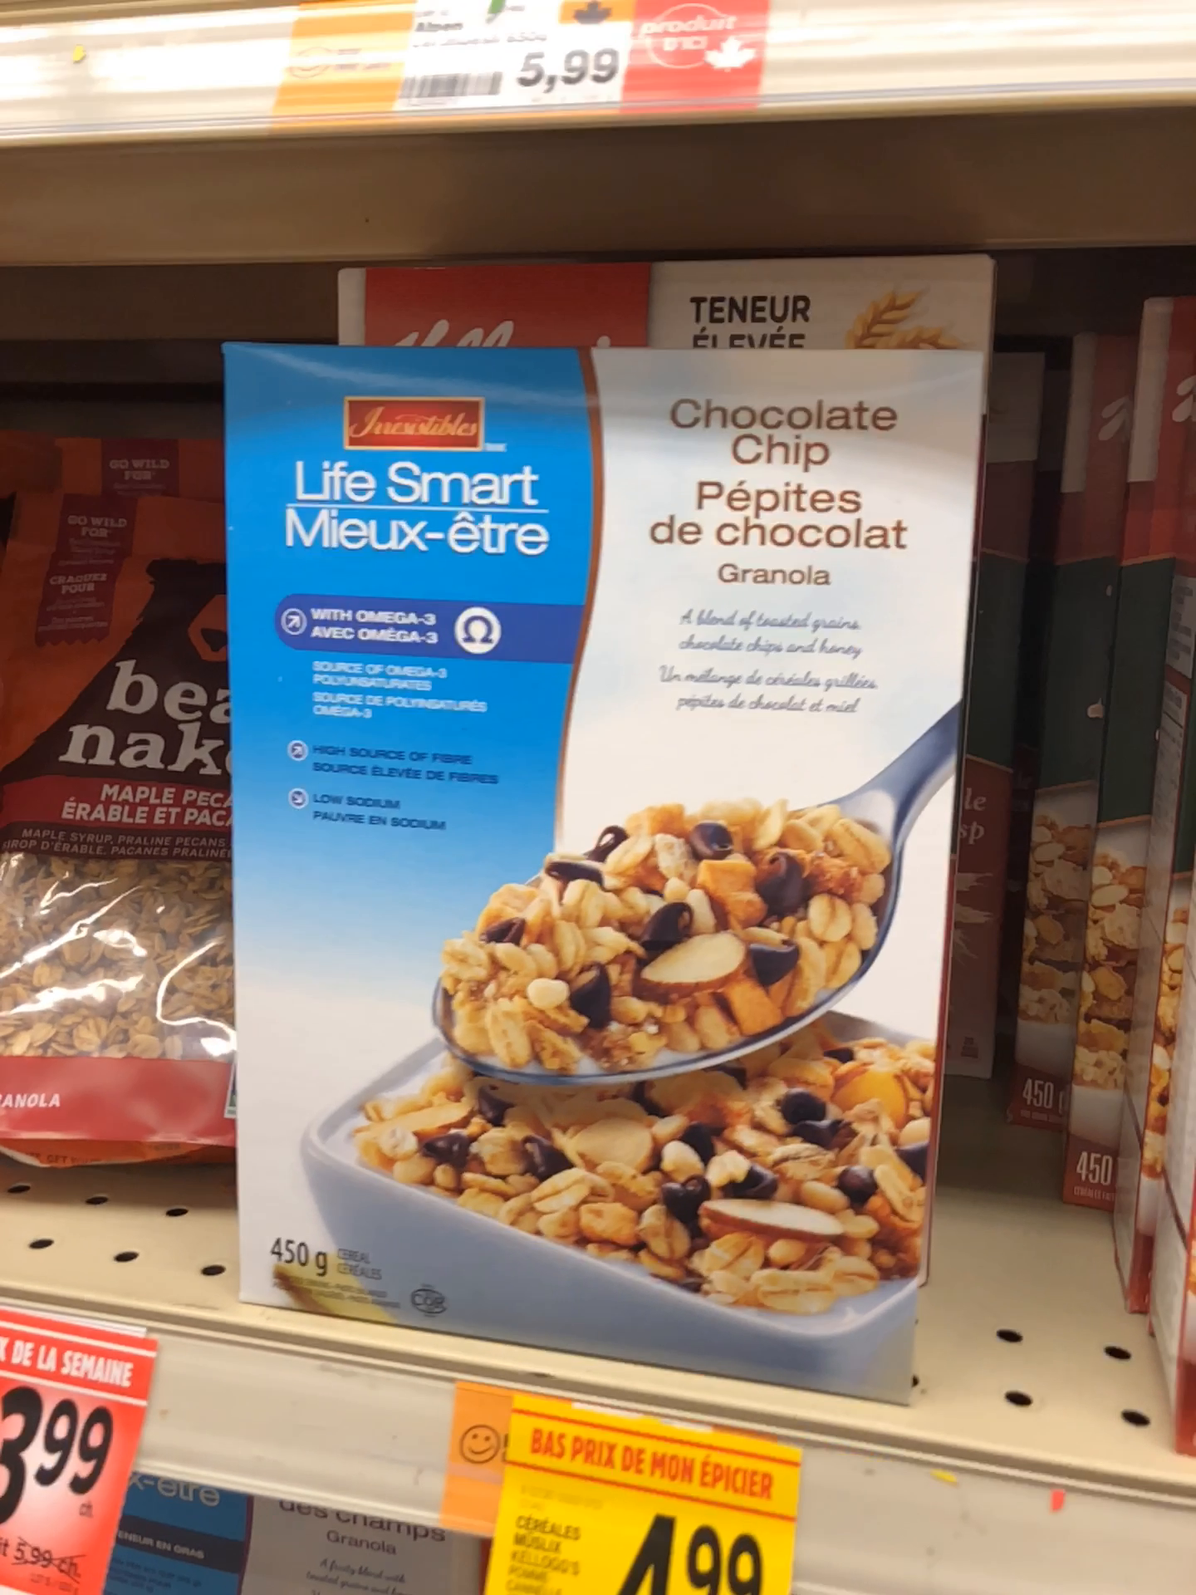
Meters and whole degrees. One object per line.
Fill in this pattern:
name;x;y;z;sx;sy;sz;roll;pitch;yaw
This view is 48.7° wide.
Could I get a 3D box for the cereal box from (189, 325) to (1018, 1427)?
cereal box;-0.004;0.014;0.323;0.180;0.239;0.050;4;7;10
